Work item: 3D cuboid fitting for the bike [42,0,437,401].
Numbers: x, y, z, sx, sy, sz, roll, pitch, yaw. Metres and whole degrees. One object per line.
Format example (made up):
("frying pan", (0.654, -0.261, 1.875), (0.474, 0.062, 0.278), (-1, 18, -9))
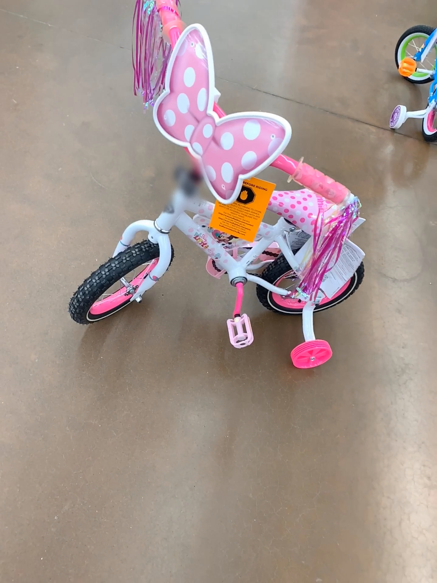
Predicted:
("bike", (0.046, -0.172, 0.992), (0.725, 0.648, 0.502), (-5, 54, -16))
